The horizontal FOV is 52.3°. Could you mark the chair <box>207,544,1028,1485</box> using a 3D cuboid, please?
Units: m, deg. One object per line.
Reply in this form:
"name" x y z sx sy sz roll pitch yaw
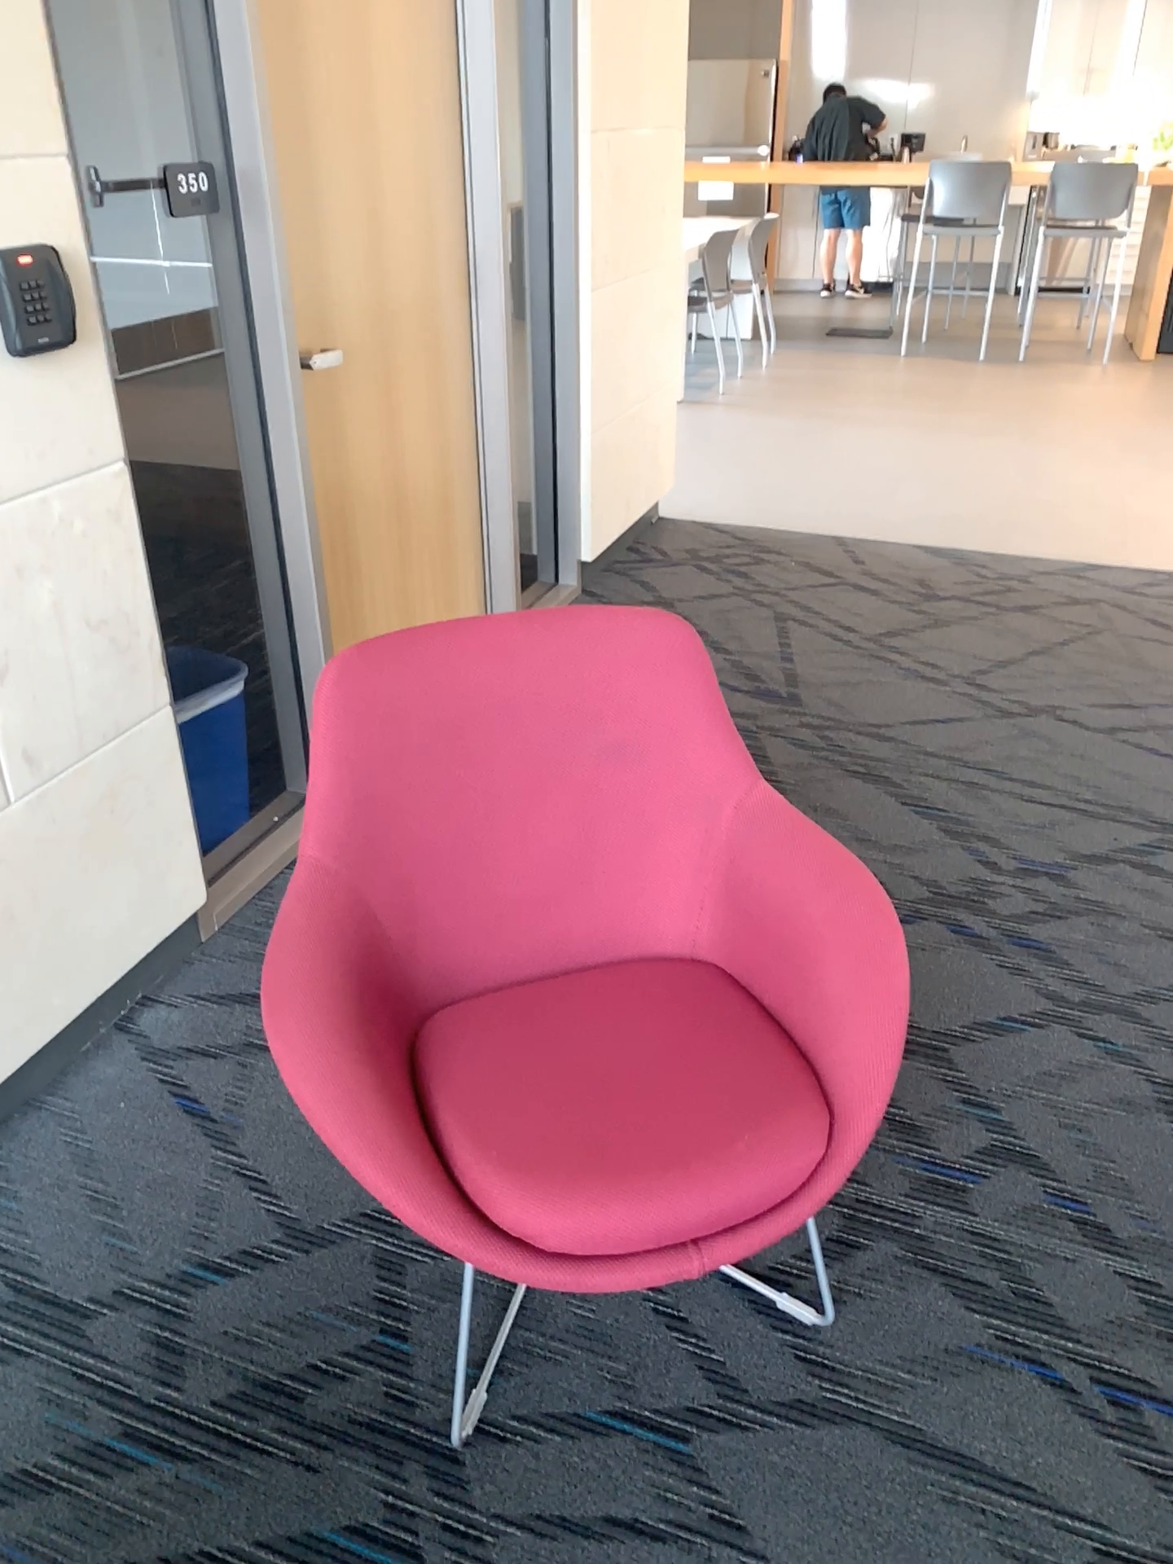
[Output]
"chair" -0.023 0.209 1.419 0.691 0.754 0.615 -9 30 -16
